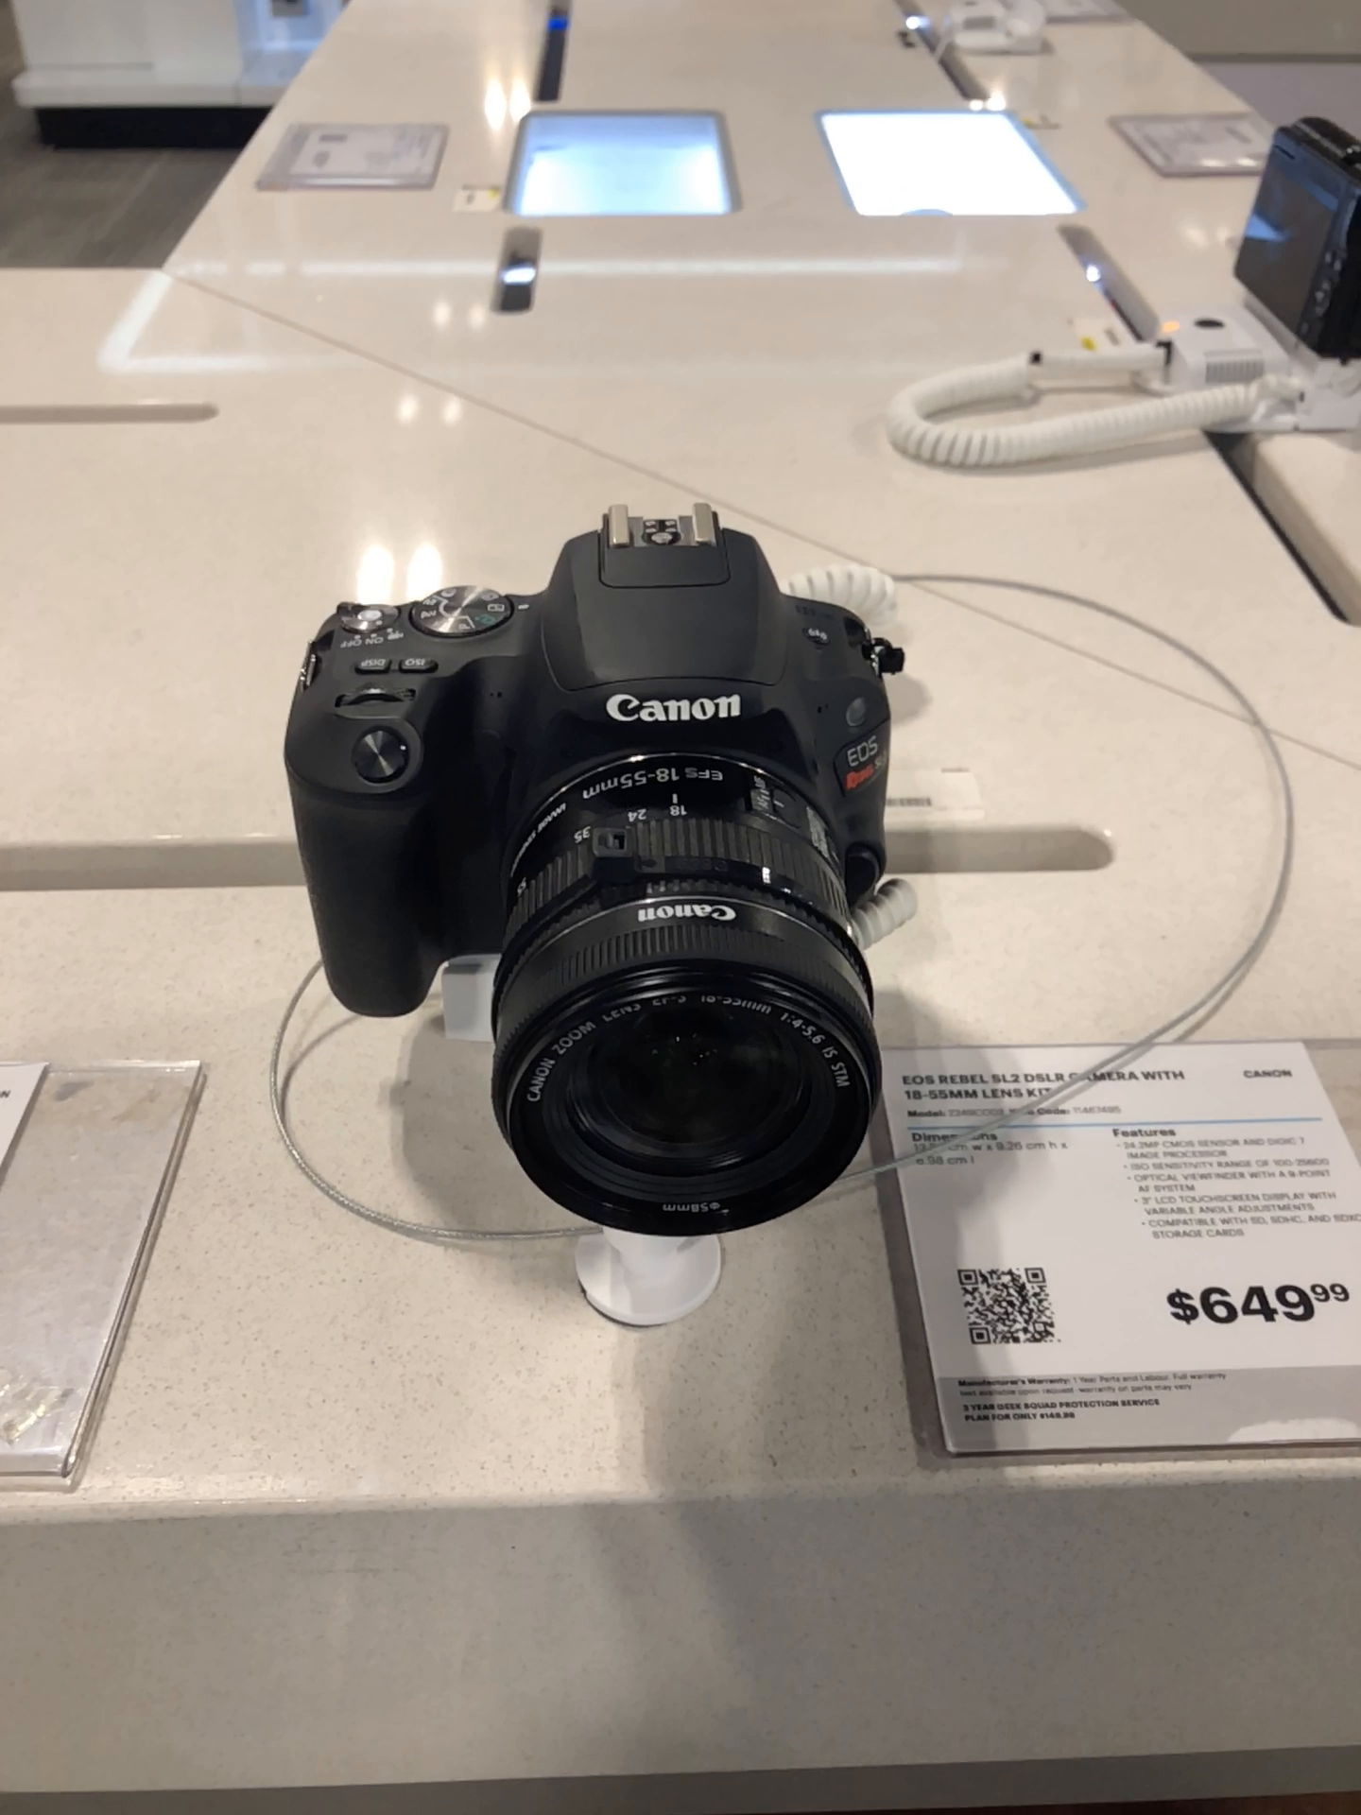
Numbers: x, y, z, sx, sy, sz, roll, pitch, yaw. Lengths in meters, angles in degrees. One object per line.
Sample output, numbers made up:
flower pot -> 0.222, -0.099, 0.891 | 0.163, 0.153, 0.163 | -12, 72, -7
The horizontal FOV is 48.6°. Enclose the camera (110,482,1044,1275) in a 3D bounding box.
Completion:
camera -> -0.017, -0.015, 0.290 | 0.130, 0.070, 0.151 | -1, 41, -2
